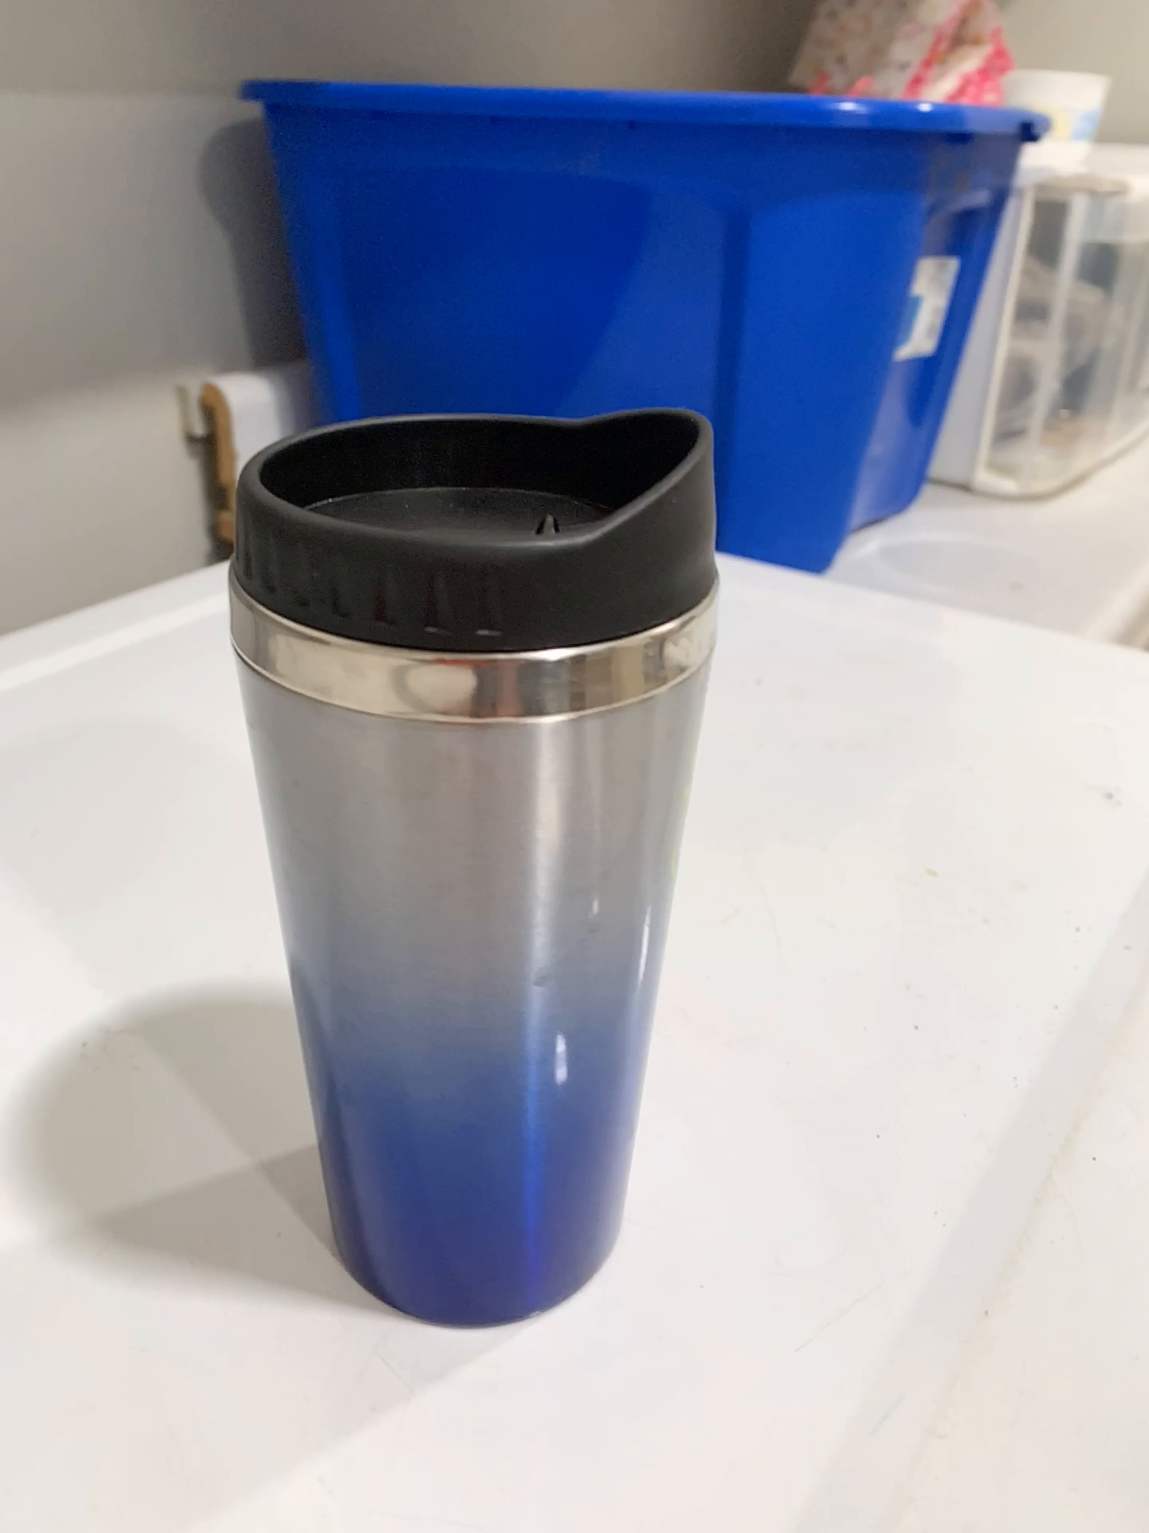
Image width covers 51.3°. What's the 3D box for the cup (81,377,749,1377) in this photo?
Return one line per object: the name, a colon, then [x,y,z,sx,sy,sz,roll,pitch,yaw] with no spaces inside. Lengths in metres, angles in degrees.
cup: [-0.019,0.022,0.232,0.089,0.171,0.080,3,28,5]
